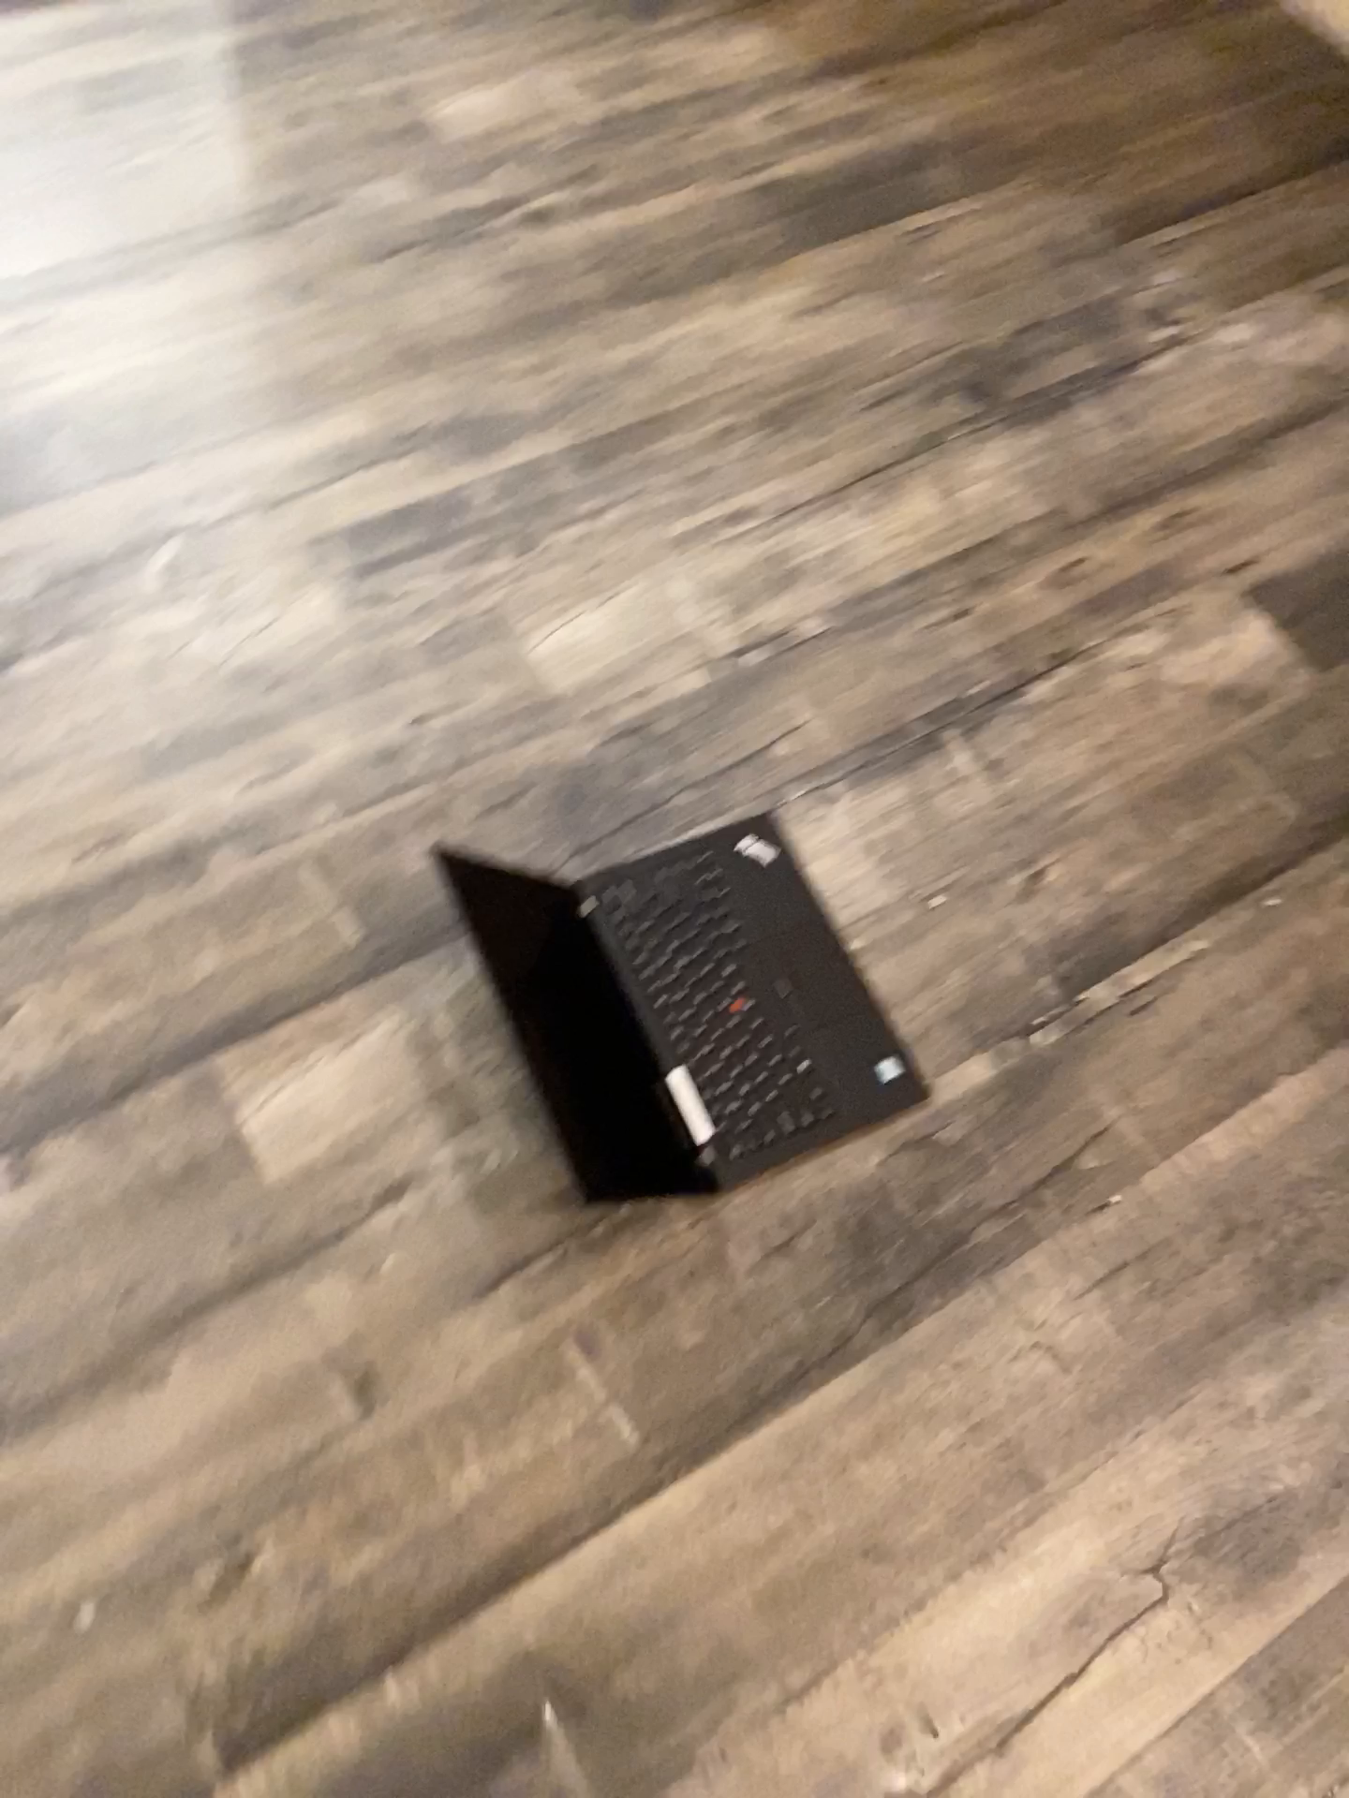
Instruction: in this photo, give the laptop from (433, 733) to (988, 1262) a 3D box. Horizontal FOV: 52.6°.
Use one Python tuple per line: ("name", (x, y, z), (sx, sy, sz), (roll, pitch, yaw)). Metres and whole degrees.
("laptop", (0.021, 0.073, 1.167), (0.356, 0.149, 0.319), (-19, 66, -20))
